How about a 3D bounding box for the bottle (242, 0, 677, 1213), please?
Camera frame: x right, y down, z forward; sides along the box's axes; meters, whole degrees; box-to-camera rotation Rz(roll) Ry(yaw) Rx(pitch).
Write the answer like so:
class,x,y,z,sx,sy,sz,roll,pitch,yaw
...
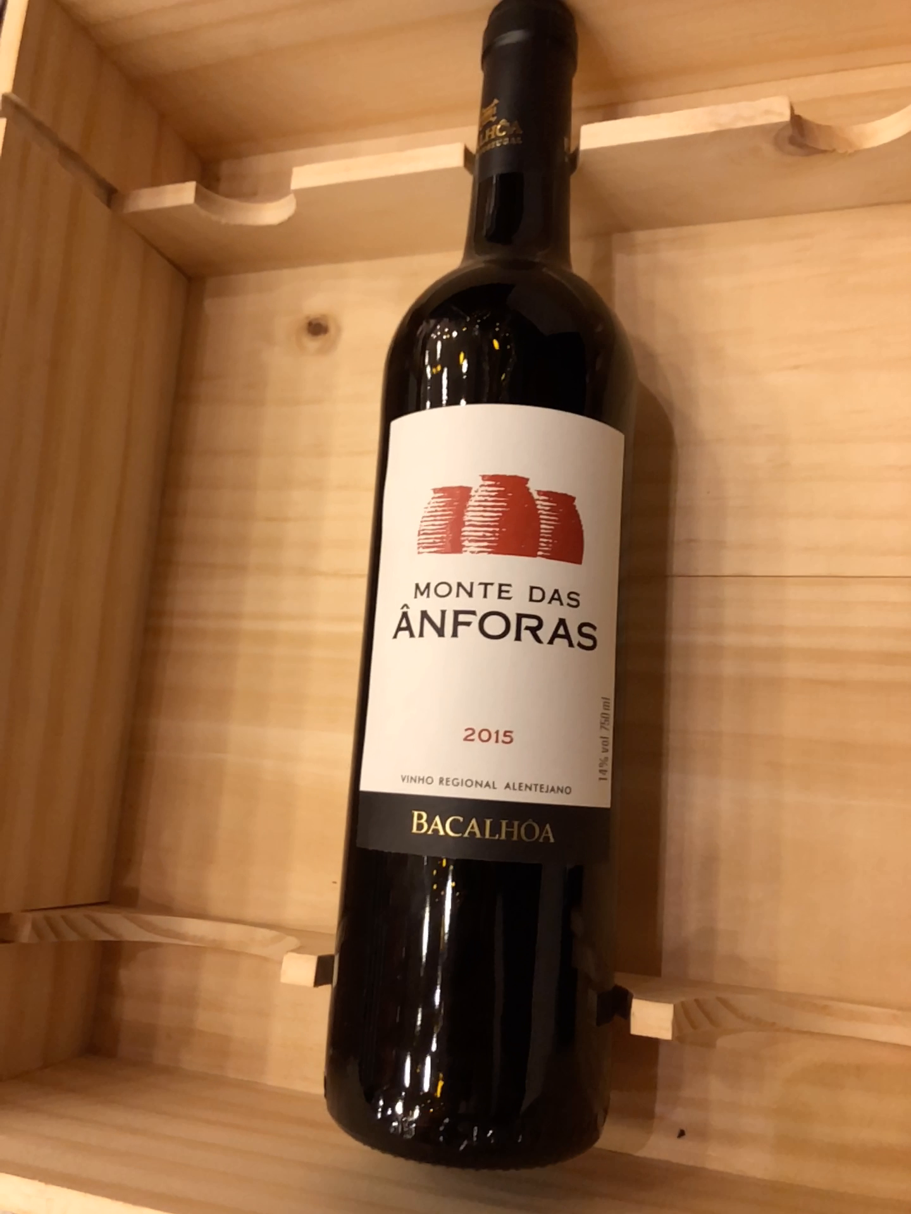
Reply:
class,x,y,z,sx,sy,sz,roll,pitch,yaw
bottle,0.010,-0.029,0.272,0.080,0.060,0.320,1,81,18
